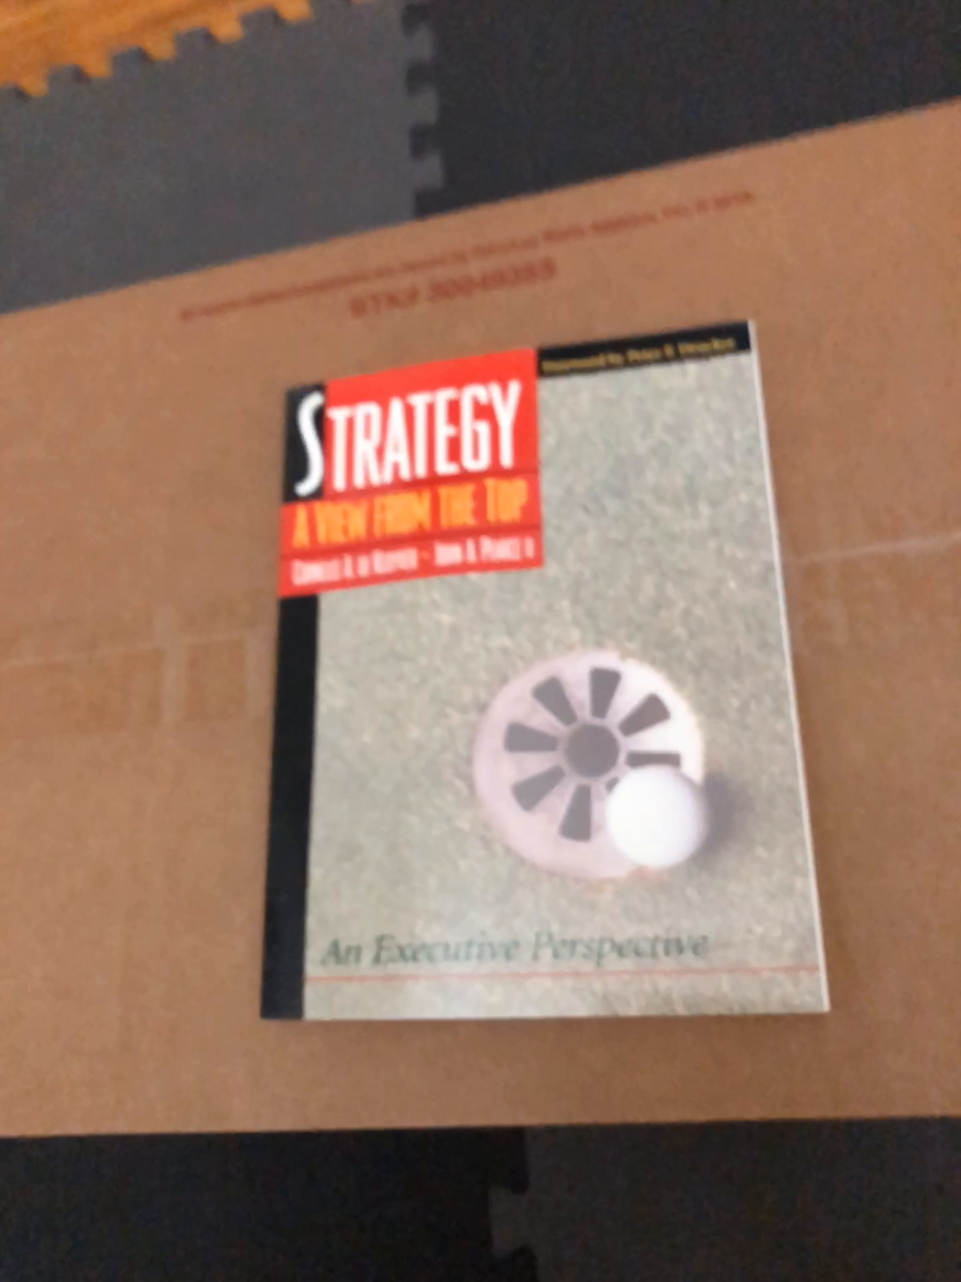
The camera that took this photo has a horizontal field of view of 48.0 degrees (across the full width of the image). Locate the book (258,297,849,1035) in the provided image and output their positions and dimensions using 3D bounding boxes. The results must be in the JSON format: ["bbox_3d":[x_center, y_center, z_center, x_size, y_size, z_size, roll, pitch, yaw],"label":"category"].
[{"bbox_3d":[0.017,0.006,0.369,0.180,0.020,0.240,-6,72,14],"label":"book"}]
